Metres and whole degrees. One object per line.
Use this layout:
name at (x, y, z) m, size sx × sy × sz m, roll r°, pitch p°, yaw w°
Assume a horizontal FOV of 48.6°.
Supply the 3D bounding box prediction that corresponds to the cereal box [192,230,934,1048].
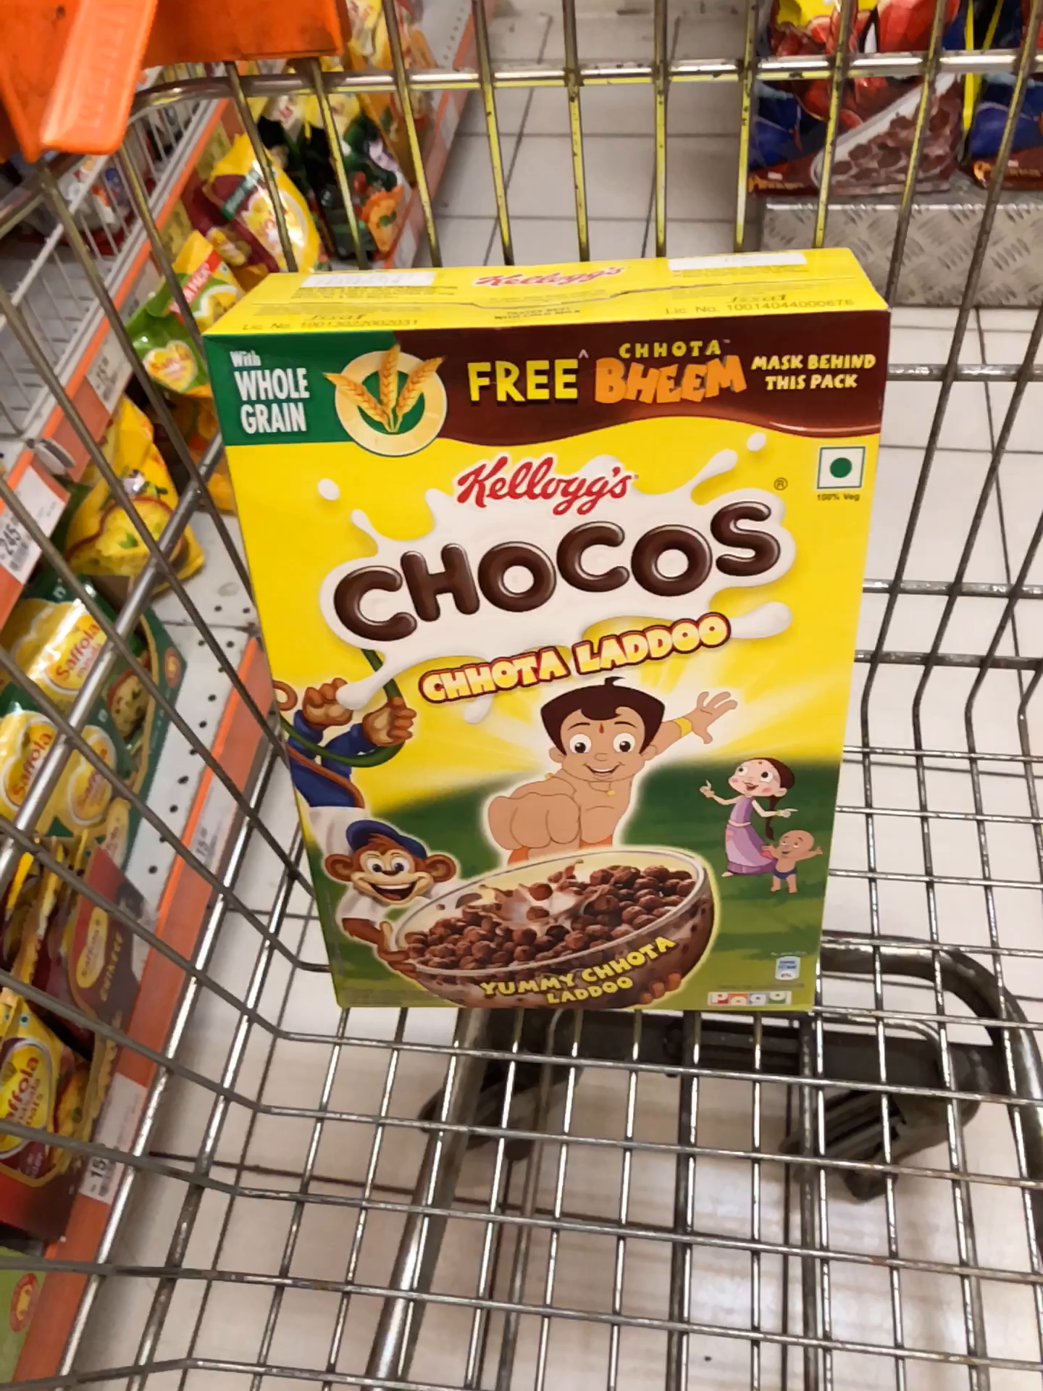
cereal box at (0.019, -0.007, 0.375) m, size 0.180 × 0.249 × 0.080 m, roll -1°, pitch 29°, yaw 6°
